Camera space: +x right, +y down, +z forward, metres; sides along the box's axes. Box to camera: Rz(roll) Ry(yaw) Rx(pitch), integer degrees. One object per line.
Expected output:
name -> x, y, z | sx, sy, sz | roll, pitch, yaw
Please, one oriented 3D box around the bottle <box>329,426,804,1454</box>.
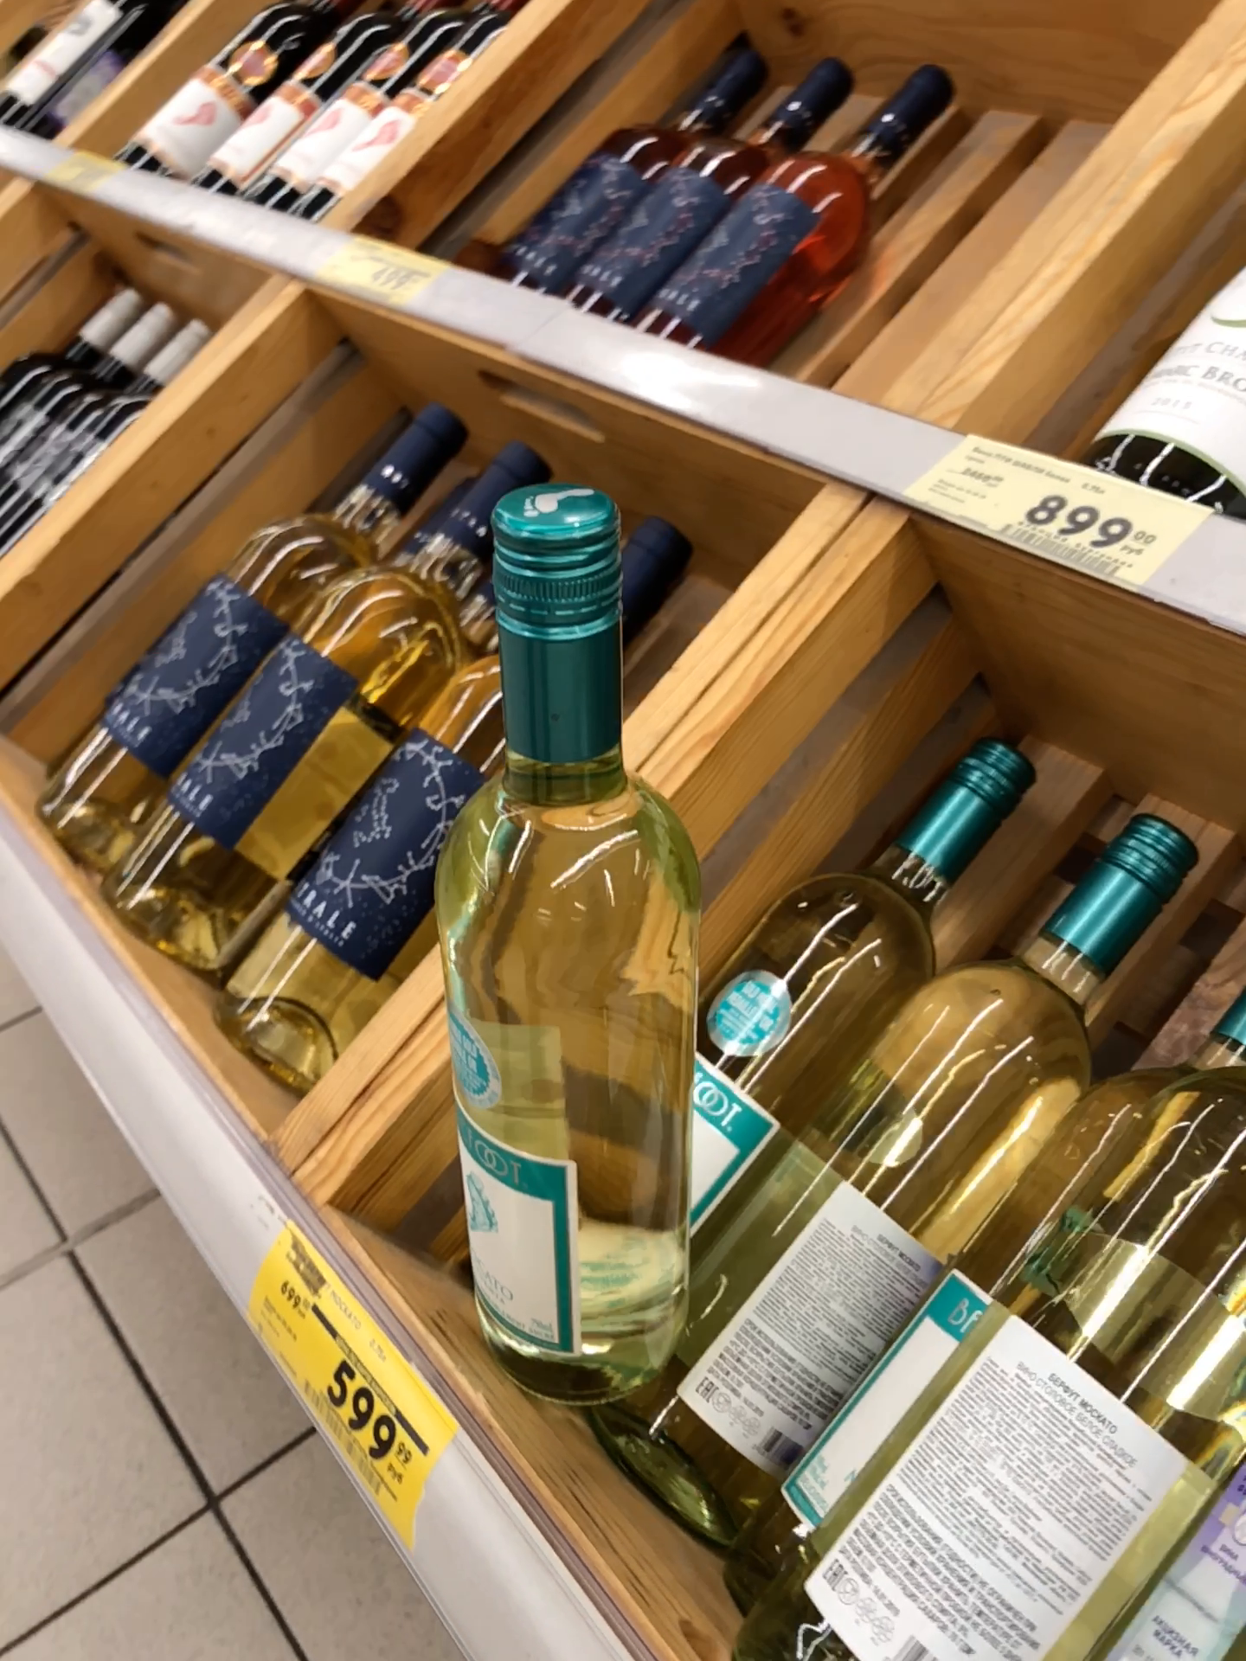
bottle -> -0.013, 0.045, 0.396 | 0.080, 0.288, 0.080 | -1, 34, 0
